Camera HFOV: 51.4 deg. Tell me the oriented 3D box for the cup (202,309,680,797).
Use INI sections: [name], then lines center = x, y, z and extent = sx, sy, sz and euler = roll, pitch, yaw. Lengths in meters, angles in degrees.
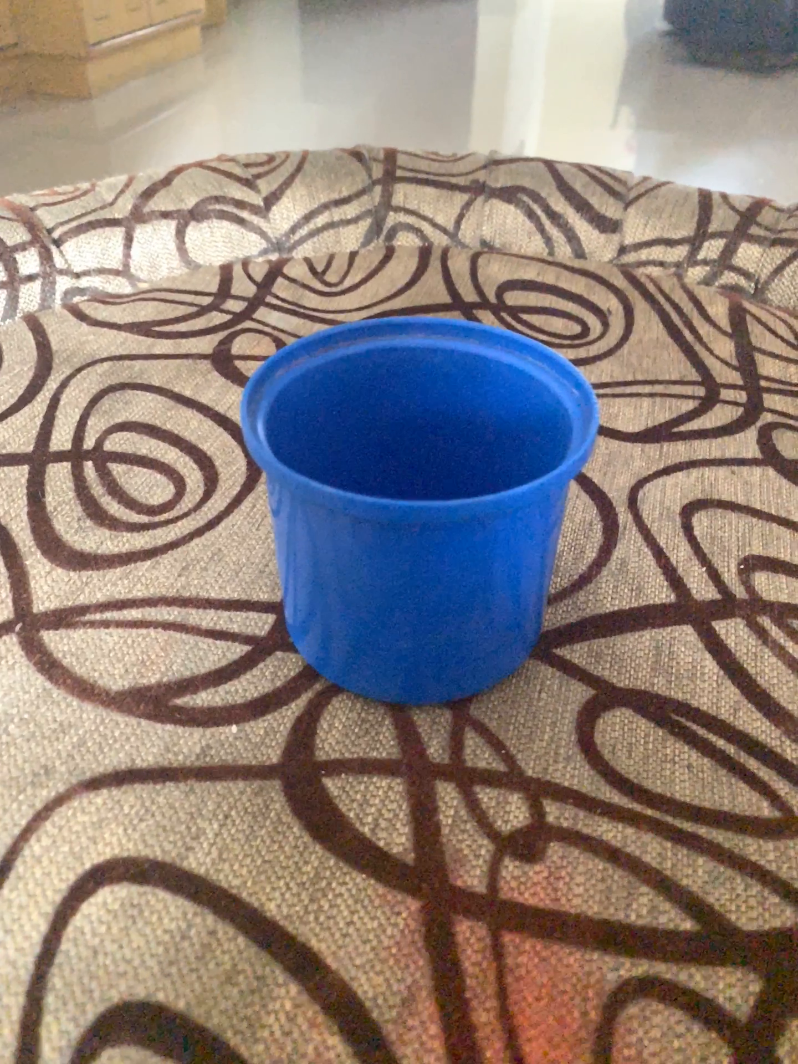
[cup]
center = 0.003, 0.000, 0.203
extent = 0.080, 0.069, 0.081
euler = 1, 39, -1
